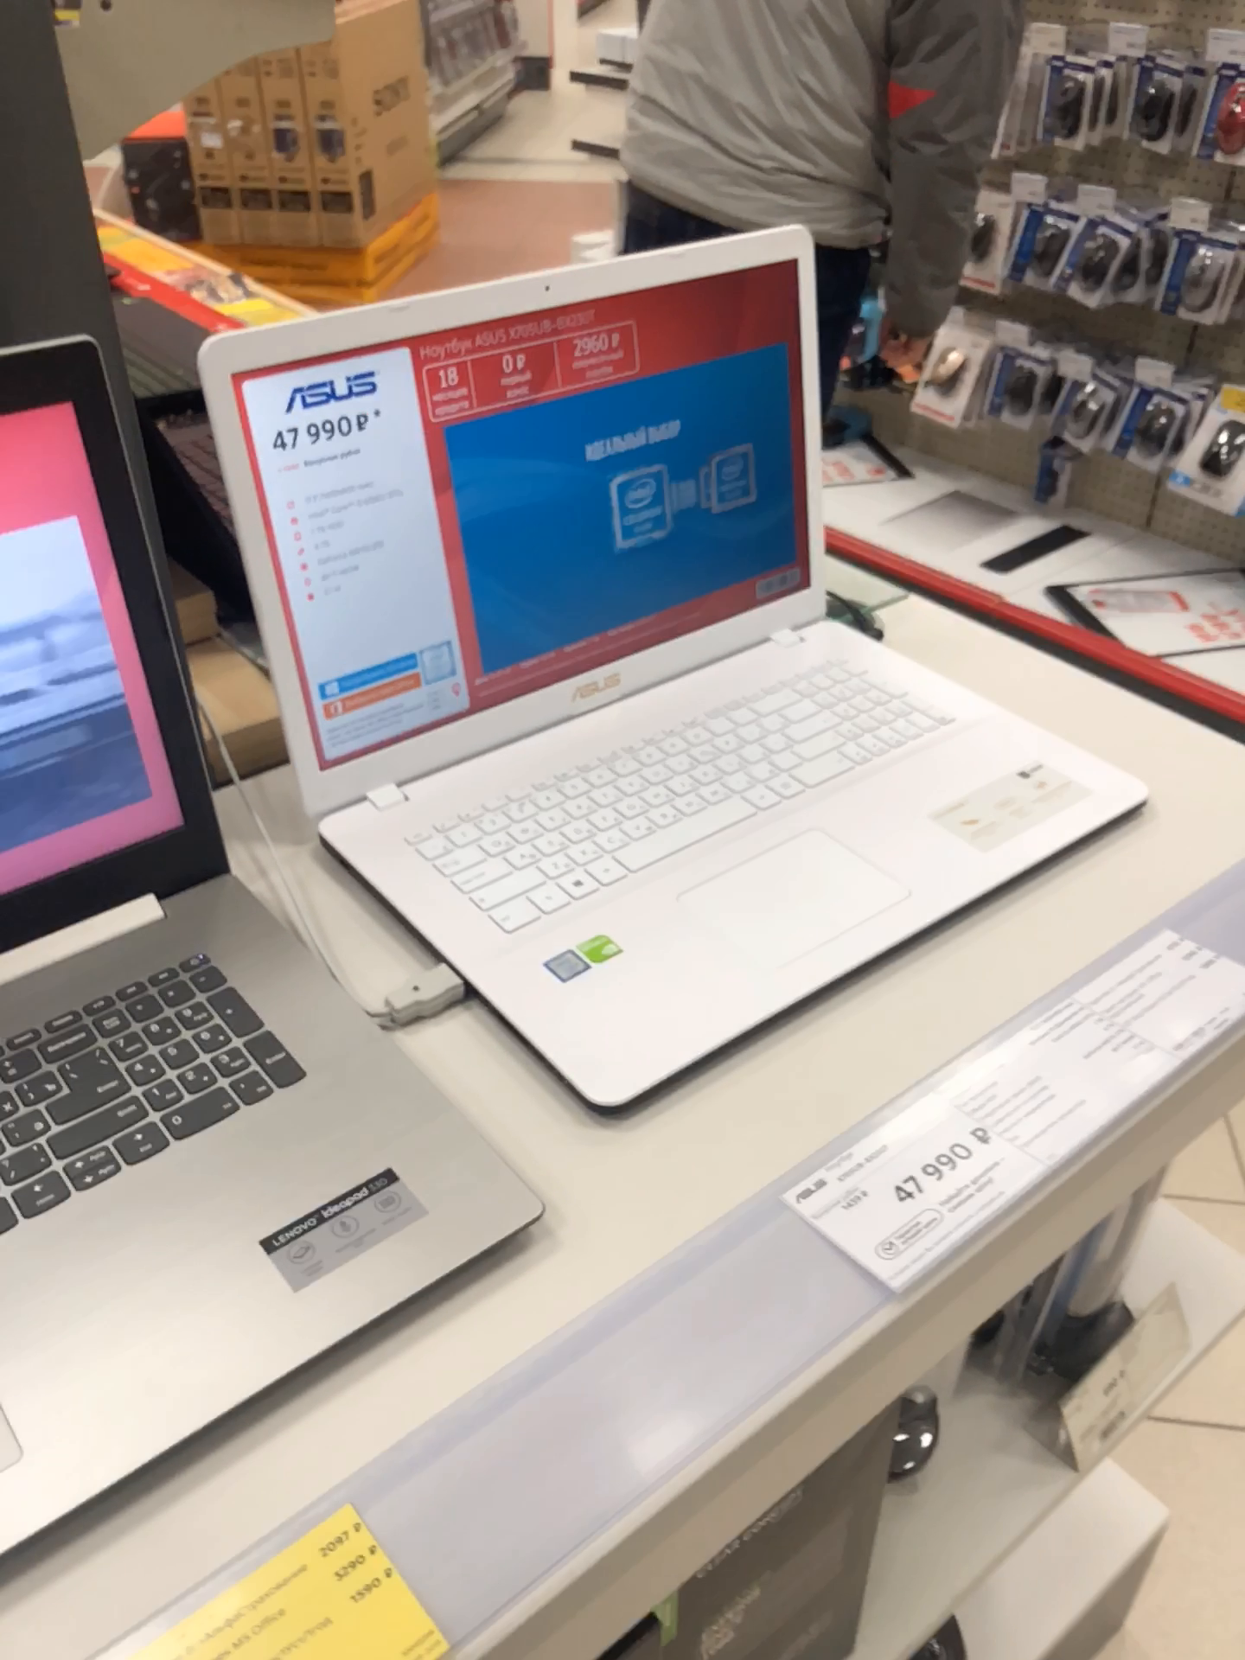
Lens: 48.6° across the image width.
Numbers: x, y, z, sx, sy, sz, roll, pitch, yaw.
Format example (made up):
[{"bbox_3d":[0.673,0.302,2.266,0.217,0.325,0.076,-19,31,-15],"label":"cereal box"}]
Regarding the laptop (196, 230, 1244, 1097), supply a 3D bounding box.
[{"bbox_3d":[0.053,-0.124,0.711,0.387,0.235,0.301,-25,44,-31],"label":"laptop"}]
